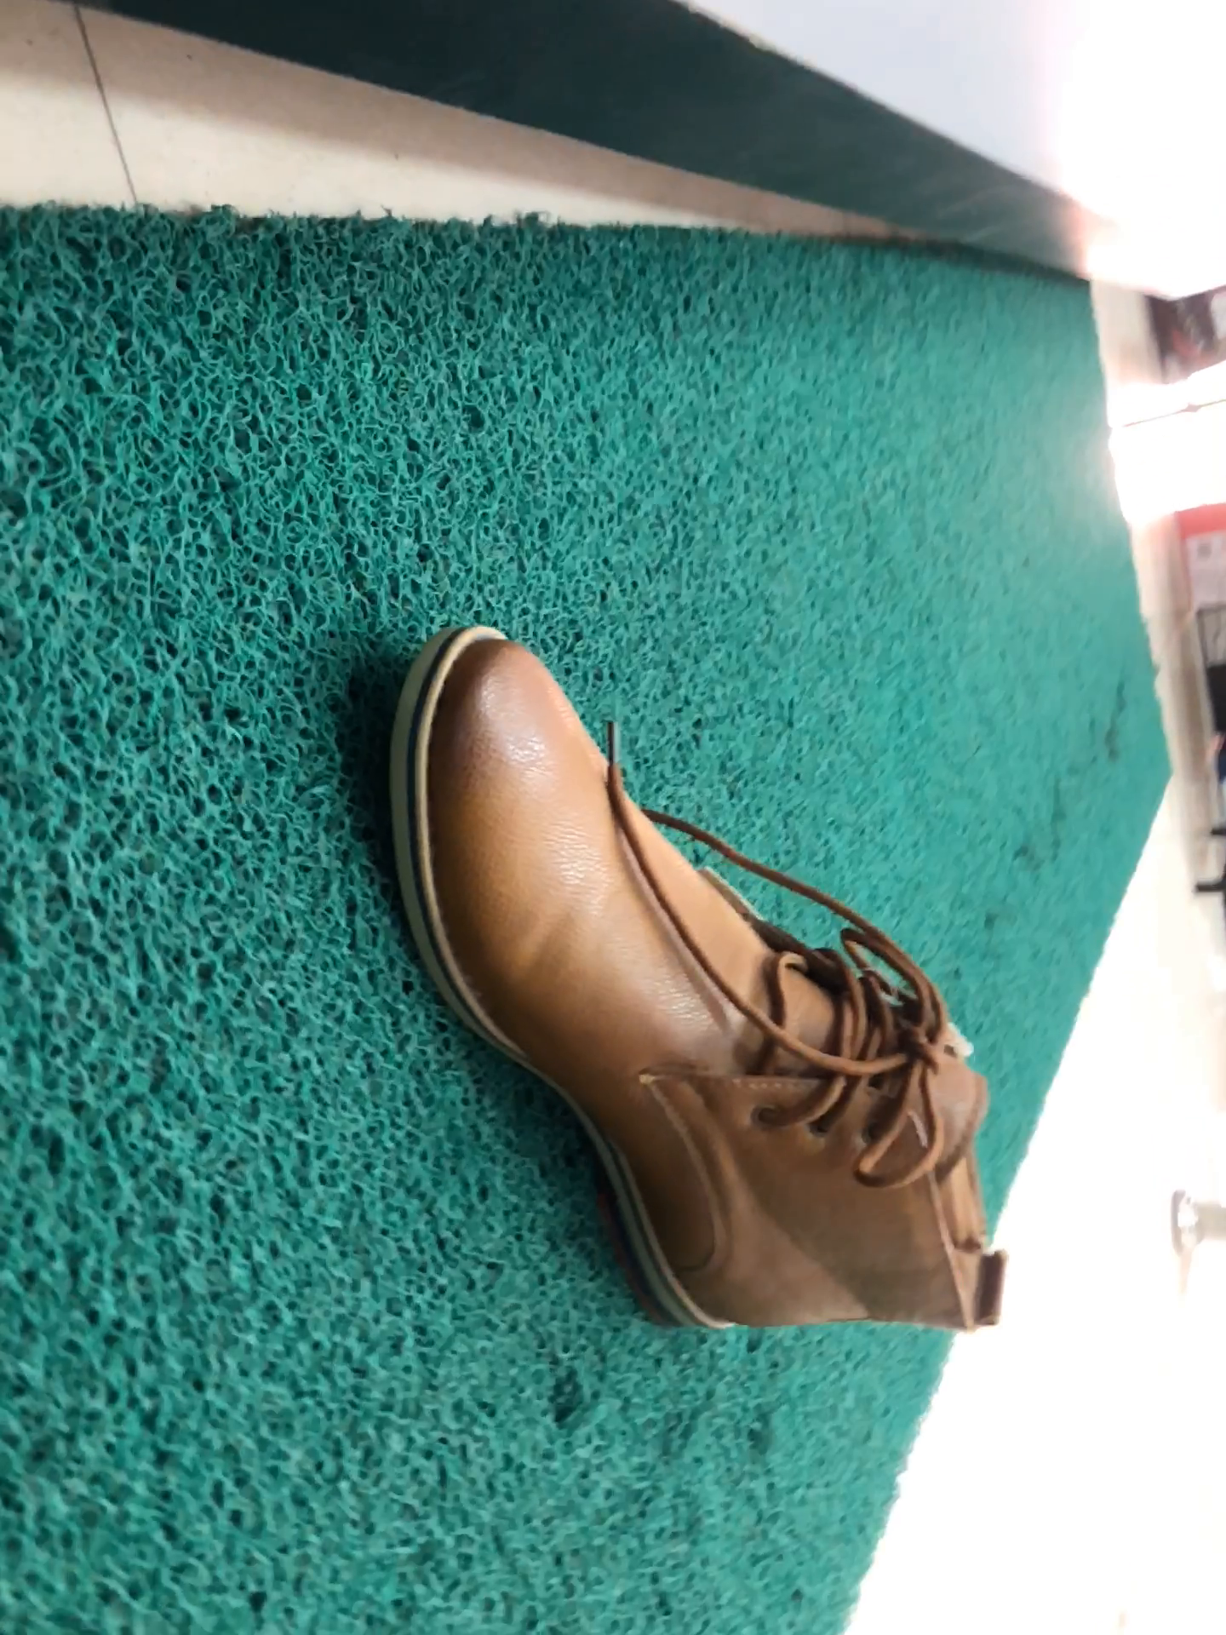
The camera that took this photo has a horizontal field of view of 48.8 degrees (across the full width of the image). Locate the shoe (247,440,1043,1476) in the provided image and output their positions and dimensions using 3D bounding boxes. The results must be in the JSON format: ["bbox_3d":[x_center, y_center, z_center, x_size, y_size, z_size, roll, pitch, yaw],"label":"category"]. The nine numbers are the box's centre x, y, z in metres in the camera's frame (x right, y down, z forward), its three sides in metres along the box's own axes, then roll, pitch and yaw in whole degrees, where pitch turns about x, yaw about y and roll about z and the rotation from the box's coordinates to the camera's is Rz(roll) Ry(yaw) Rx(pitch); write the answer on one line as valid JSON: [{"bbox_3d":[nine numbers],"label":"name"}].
[{"bbox_3d":[0.037,0.061,0.429,0.311,0.109,0.121,63,36,-30],"label":"shoe"}]
